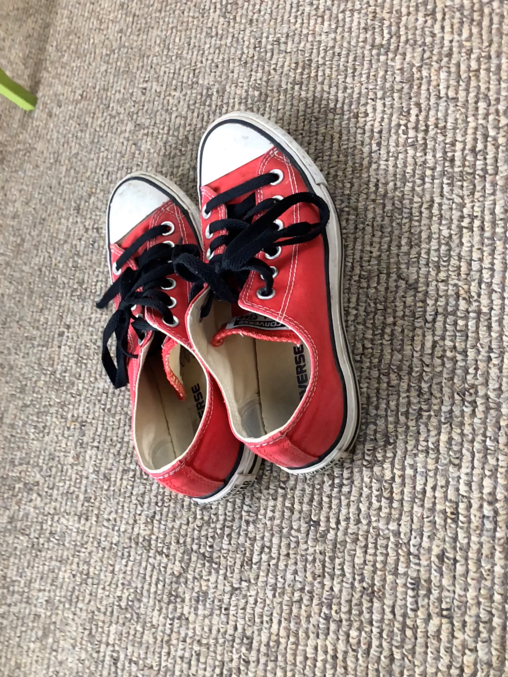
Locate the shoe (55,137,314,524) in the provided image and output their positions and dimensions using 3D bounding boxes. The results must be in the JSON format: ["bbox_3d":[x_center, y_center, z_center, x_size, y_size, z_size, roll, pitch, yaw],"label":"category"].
[{"bbox_3d":[-0.061,-0.007,0.432,0.102,0.097,0.262,-29,63,21],"label":"shoe"}]

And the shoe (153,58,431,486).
[{"bbox_3d":[0.017,-0.043,0.384,0.102,0.088,0.259,-24,65,23],"label":"shoe"}]
